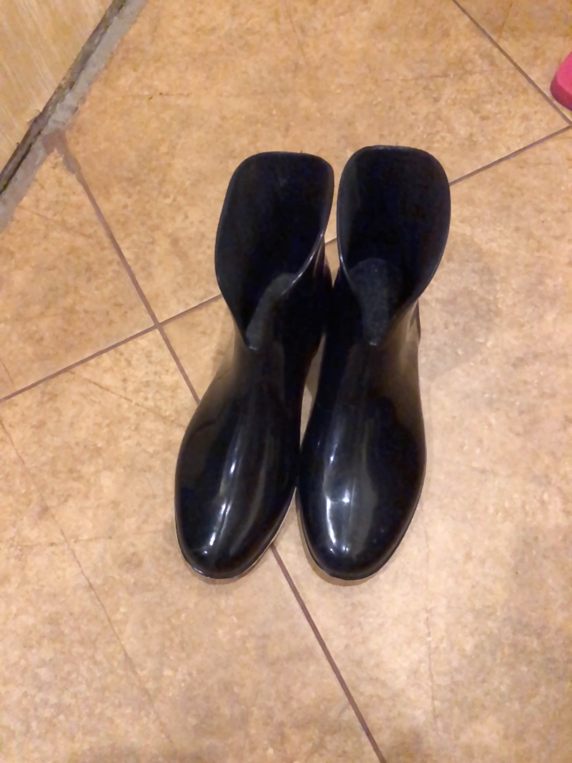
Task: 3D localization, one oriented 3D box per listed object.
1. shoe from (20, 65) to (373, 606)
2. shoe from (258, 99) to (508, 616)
[{"bbox_3d":[-0.029,-0.011,0.431,0.110,0.229,0.281,11,68,7],"label":"shoe"},{"bbox_3d":[0.062,0.003,0.438,0.110,0.229,0.281,5,68,4],"label":"shoe"}]
